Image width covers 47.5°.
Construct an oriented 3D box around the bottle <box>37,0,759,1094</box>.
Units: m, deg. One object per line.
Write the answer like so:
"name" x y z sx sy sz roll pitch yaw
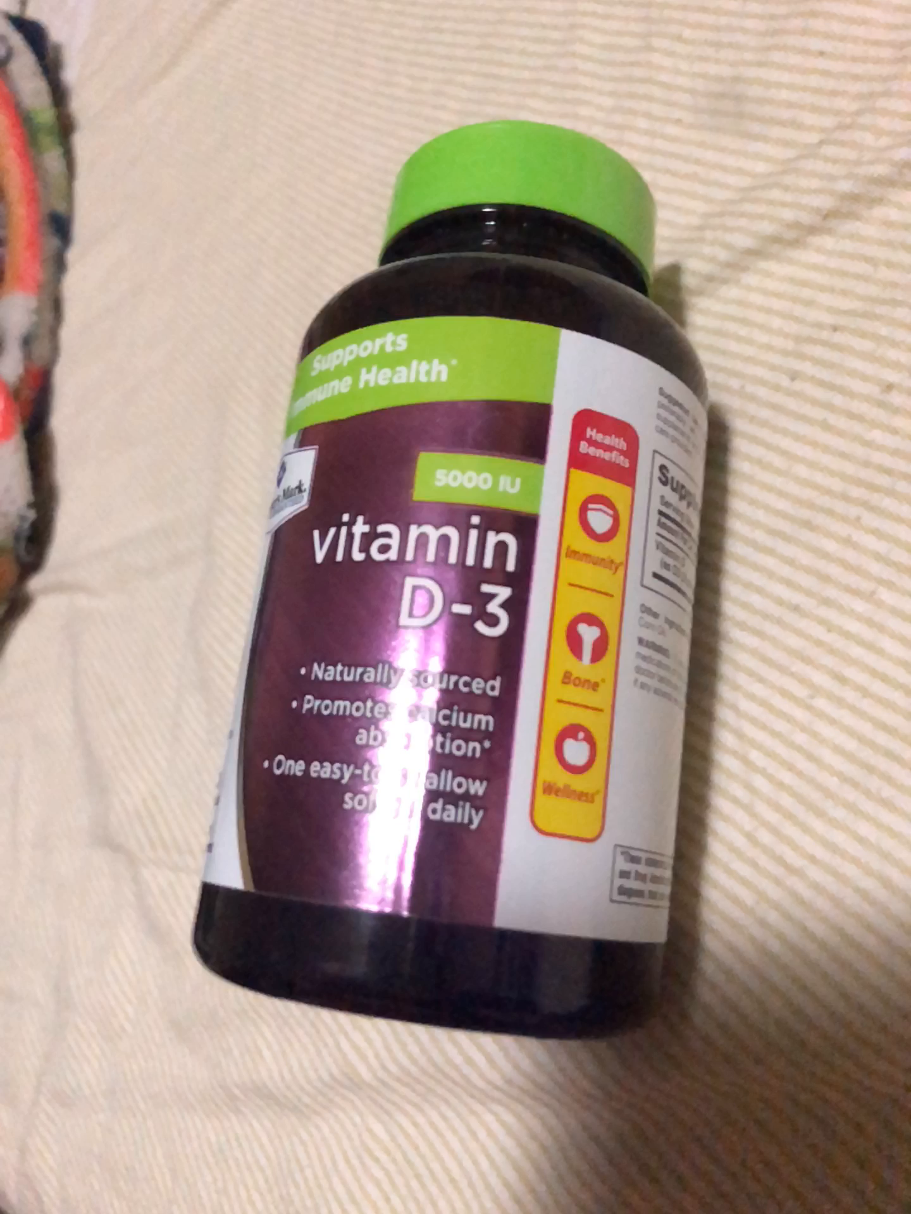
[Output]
"bottle" -0.002 -0.003 0.139 0.060 0.060 0.110 -6 71 38
